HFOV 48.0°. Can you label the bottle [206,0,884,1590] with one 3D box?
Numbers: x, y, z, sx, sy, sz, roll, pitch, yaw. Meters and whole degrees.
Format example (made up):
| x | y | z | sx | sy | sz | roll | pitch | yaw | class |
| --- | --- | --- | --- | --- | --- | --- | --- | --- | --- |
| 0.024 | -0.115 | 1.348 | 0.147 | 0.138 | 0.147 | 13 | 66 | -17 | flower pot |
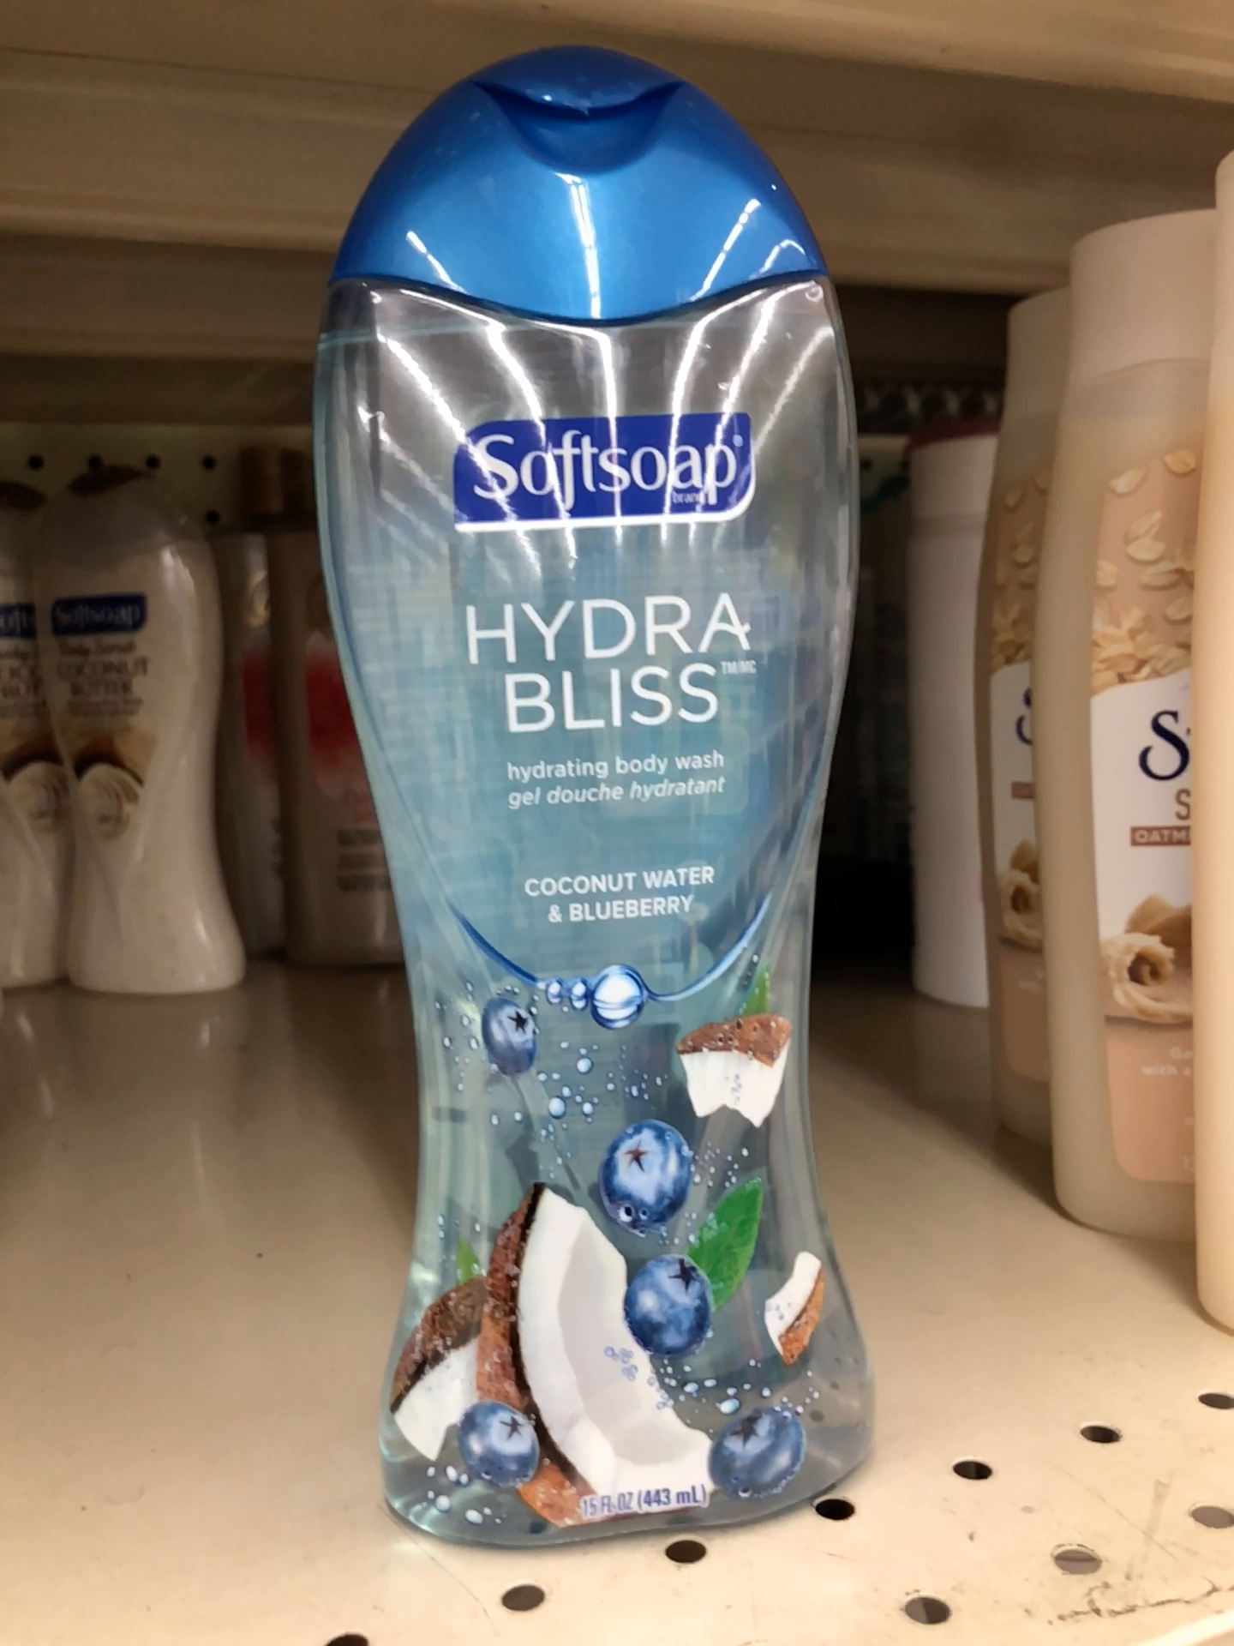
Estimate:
| x | y | z | sx | sy | sz | roll | pitch | yaw | class |
| --- | --- | --- | --- | --- | --- | --- | --- | --- | --- |
| -0.008 | -0.006 | 0.204 | 0.080 | 0.211 | 0.051 | -3 | 8 | -9 | bottle |
